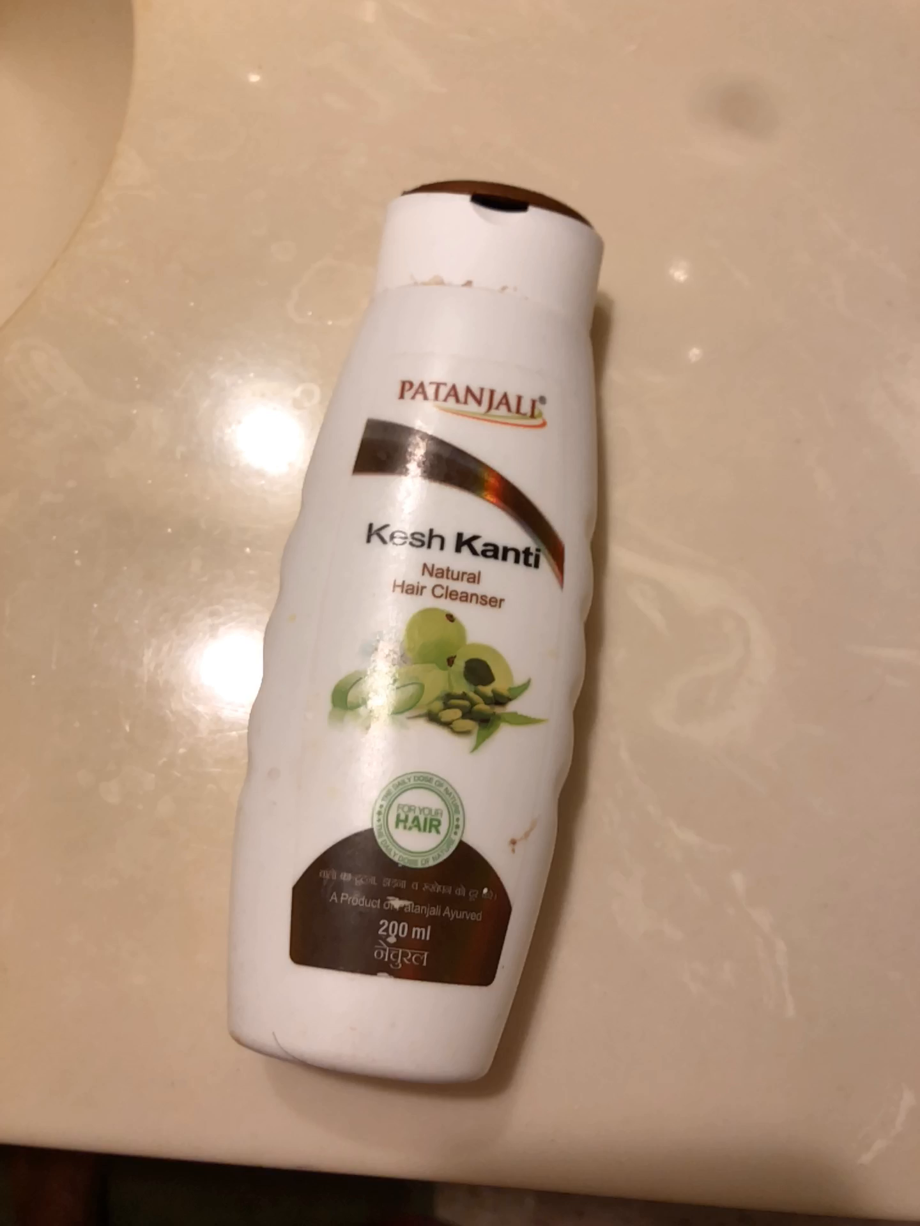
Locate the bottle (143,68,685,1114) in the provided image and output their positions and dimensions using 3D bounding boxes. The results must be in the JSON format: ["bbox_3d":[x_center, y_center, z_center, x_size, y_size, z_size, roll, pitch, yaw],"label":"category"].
[{"bbox_3d":[-0.002,-0.013,0.217,0.070,0.040,0.200,9,75,2],"label":"bottle"}]
